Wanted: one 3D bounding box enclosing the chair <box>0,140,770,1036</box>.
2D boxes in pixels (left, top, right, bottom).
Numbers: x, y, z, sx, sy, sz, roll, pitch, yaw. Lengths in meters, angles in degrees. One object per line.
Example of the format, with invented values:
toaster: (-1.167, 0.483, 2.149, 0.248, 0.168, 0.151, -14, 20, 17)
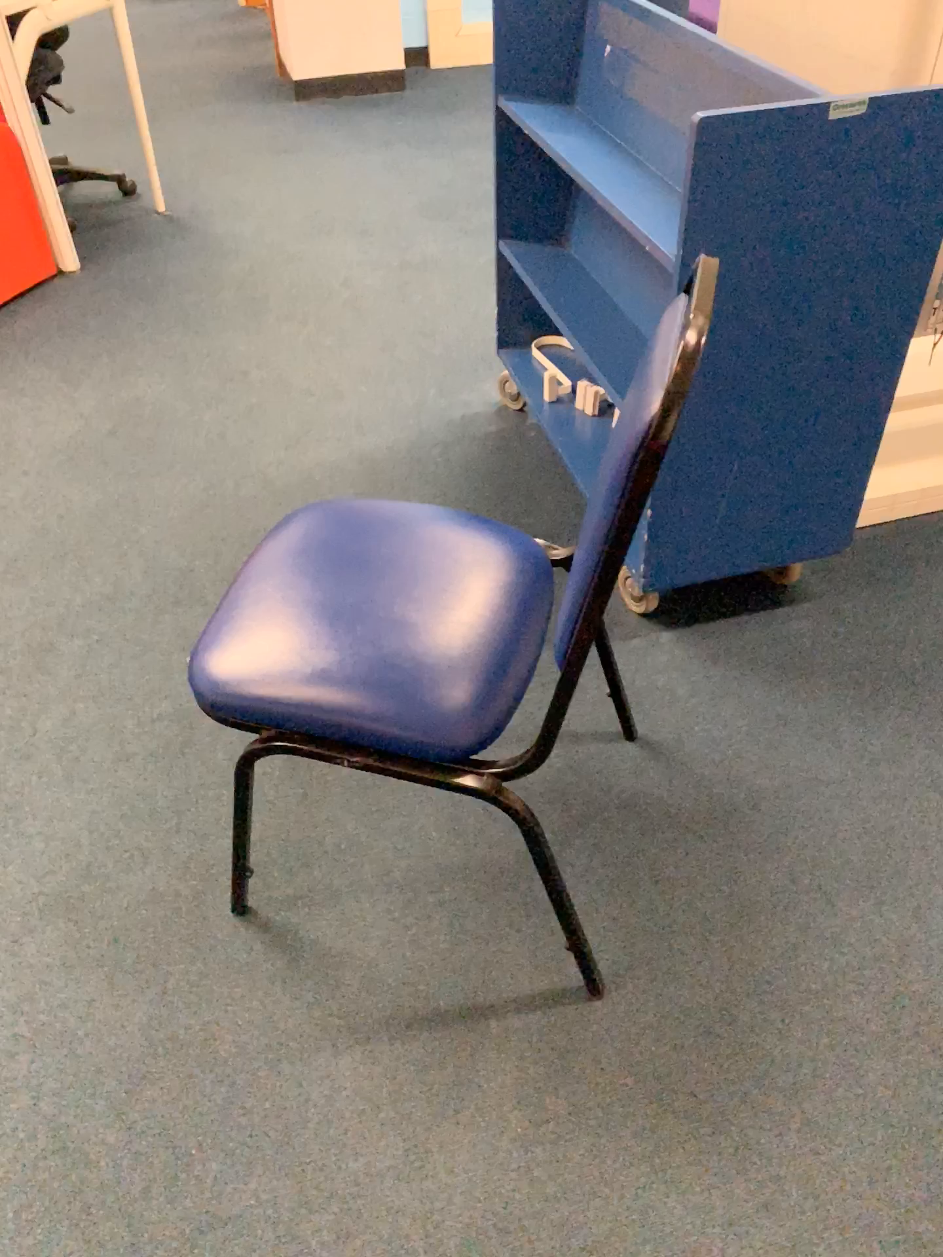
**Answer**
chair: (-0.017, -0.034, 1.201, 0.581, 0.882, 0.565, 9, 44, 12)
